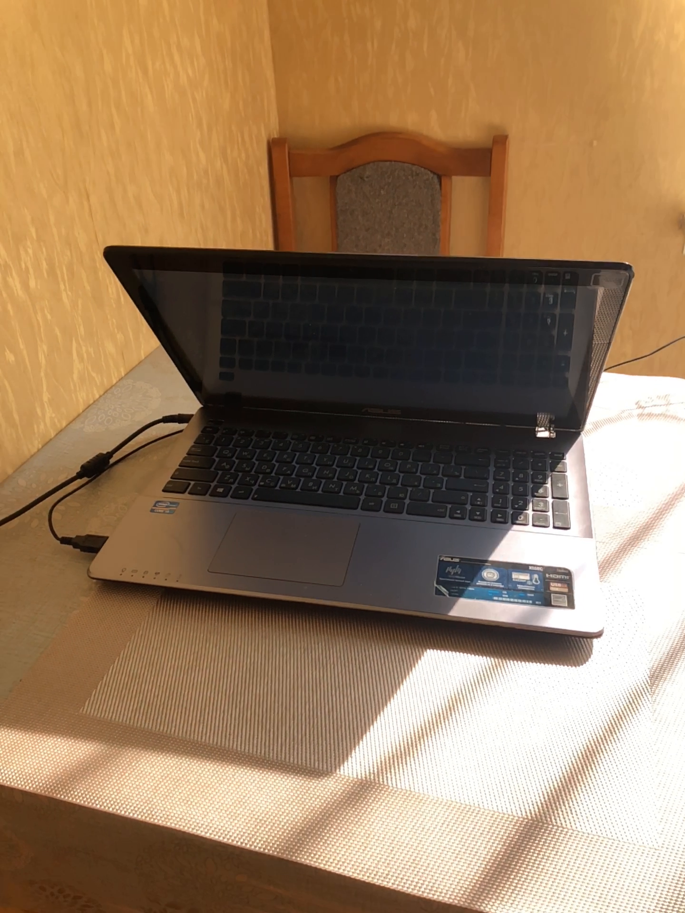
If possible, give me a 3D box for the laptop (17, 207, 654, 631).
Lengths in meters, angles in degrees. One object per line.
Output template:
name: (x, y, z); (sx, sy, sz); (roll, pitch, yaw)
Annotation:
laptop: (0.012, -0.049, 0.569); (0.363, 0.197, 0.241); (4, 35, 11)
